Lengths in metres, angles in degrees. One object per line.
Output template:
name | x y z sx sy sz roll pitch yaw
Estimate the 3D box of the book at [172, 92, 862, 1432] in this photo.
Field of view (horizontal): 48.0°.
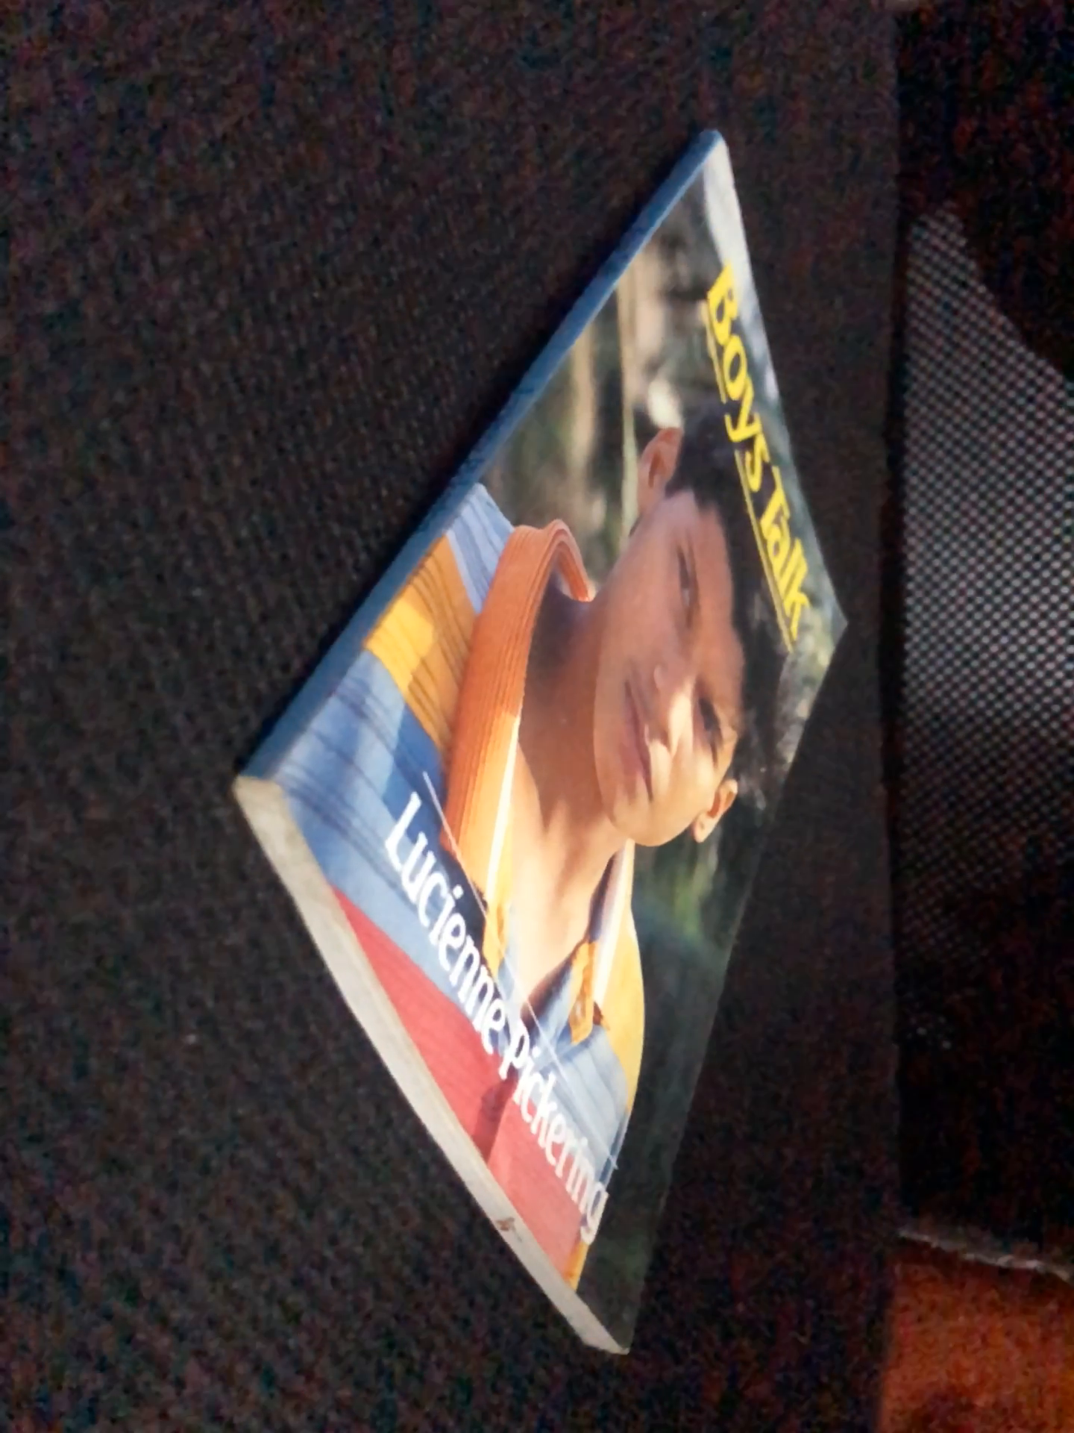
book | 0.025 -0.007 0.205 0.191 0.010 0.131 -63 142 -42
